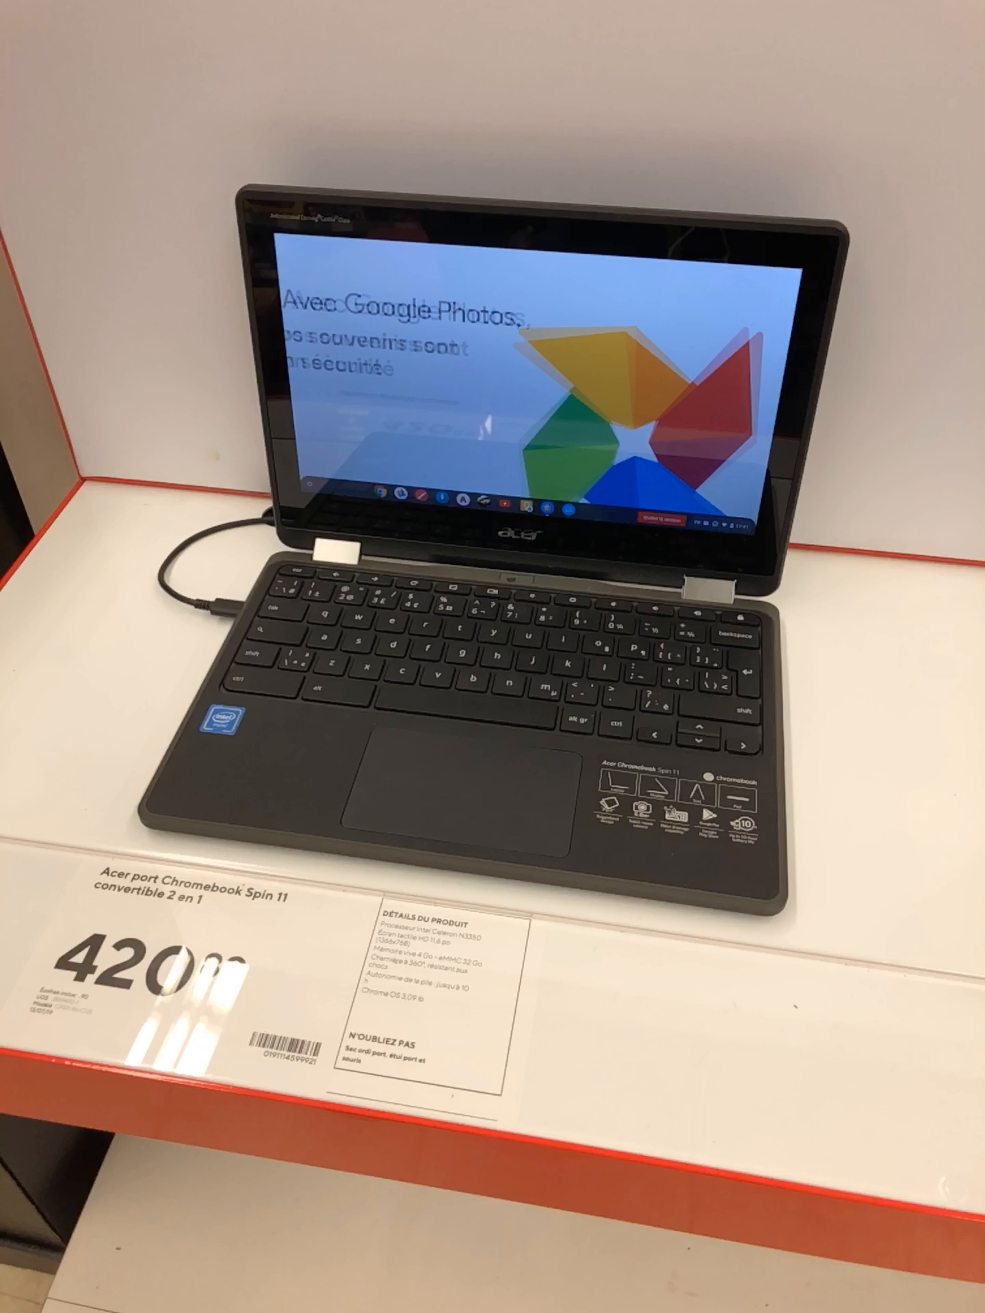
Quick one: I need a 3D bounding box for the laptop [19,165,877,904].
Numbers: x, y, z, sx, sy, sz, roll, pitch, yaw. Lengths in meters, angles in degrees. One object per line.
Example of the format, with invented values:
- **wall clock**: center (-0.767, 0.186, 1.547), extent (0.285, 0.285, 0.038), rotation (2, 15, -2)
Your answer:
- **laptop**: center (-0.002, -0.070, 0.512), extent (0.289, 0.198, 0.253), rotation (6, 46, 7)
